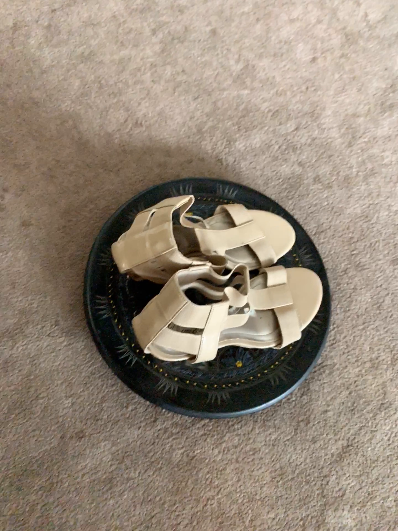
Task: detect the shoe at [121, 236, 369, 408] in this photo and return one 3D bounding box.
[{"bbox_3d":[0.051,0.050,0.439,0.231,0.089,0.100,-11,60,-32],"label":"shoe"}]

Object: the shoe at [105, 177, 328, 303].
[{"bbox_3d":[0.021,-0.034,0.468,0.221,0.089,0.090,-9,67,-31],"label":"shoe"}]
